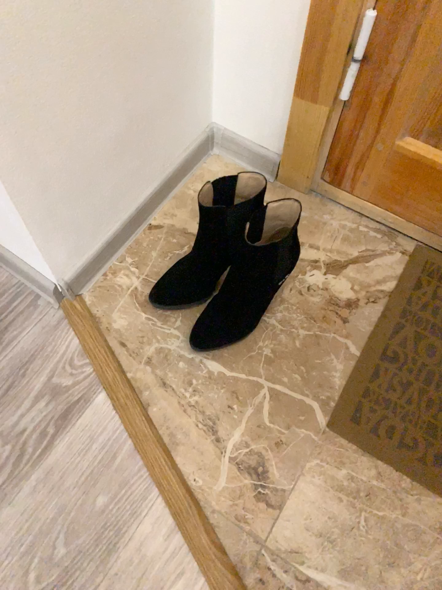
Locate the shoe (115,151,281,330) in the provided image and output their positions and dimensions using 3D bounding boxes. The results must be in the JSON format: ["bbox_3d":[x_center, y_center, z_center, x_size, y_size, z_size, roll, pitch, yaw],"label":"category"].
[{"bbox_3d":[-0.031,-0.077,0.698,0.214,0.199,0.086,-32,66,-19],"label":"shoe"}]

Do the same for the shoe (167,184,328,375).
[{"bbox_3d":[0.036,-0.016,0.671,0.086,0.199,0.215,41,67,19],"label":"shoe"}]
